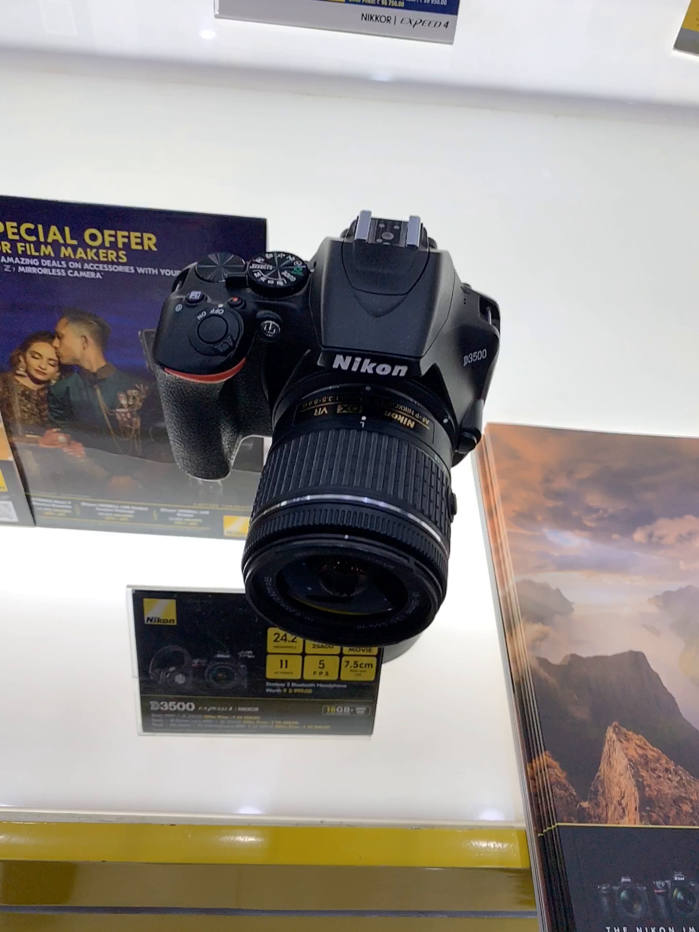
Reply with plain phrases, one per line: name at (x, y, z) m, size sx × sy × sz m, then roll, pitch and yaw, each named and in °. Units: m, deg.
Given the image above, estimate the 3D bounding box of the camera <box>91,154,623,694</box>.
camera at (0.005, -0.022, 0.225) m, size 0.110 × 0.070 × 0.150 m, roll 7°, pitch 48°, yaw 0°
